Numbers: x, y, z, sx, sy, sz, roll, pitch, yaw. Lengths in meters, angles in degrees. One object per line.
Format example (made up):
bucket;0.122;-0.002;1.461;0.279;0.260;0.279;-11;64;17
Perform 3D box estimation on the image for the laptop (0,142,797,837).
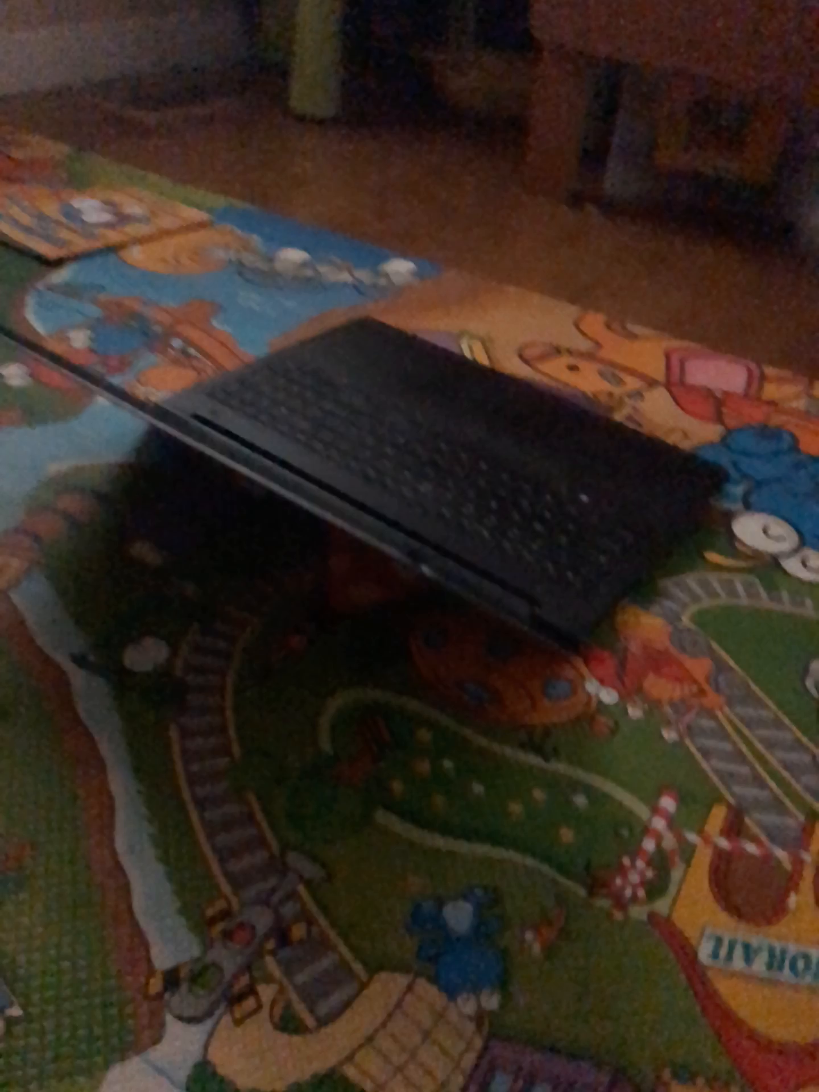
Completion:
laptop;-0.018;-0.105;0.579;0.362;0.158;0.430;29;42;25
